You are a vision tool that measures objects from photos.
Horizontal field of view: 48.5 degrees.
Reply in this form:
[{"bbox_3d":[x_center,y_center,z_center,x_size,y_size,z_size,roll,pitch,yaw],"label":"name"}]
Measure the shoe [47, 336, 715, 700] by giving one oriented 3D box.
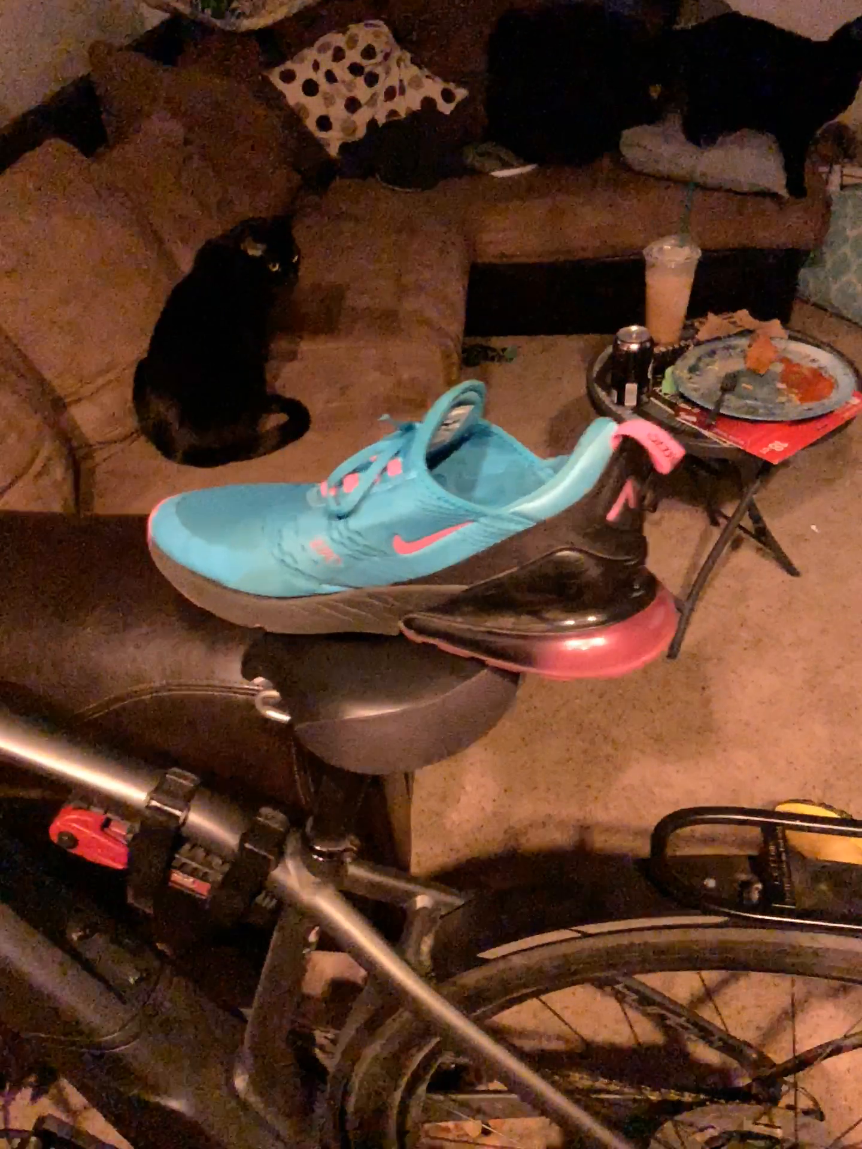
[{"bbox_3d":[-0.017,-0.042,0.557,0.330,0.130,0.150,4,39,10],"label":"shoe"}]
